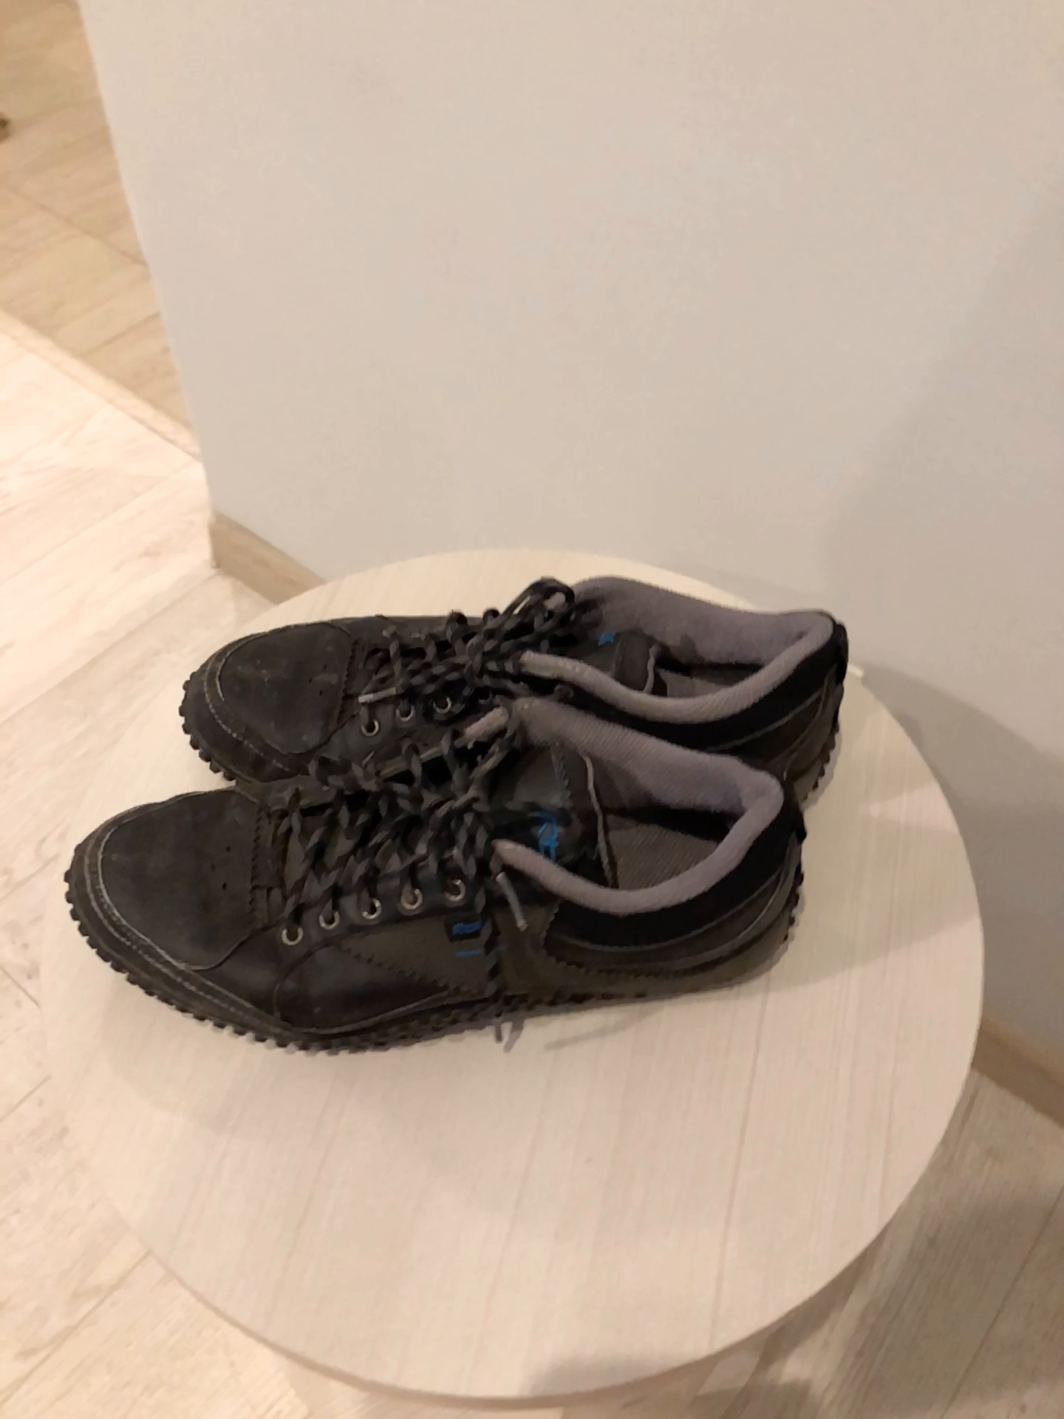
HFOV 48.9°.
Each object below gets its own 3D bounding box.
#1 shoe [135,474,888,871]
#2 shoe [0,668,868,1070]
[{"bbox_3d":[-0.005,-0.016,0.492,0.270,0.099,0.111,4,52,2],"label":"shoe"},{"bbox_3d":[-0.032,0.060,0.432,0.270,0.099,0.111,0,51,-1],"label":"shoe"}]
